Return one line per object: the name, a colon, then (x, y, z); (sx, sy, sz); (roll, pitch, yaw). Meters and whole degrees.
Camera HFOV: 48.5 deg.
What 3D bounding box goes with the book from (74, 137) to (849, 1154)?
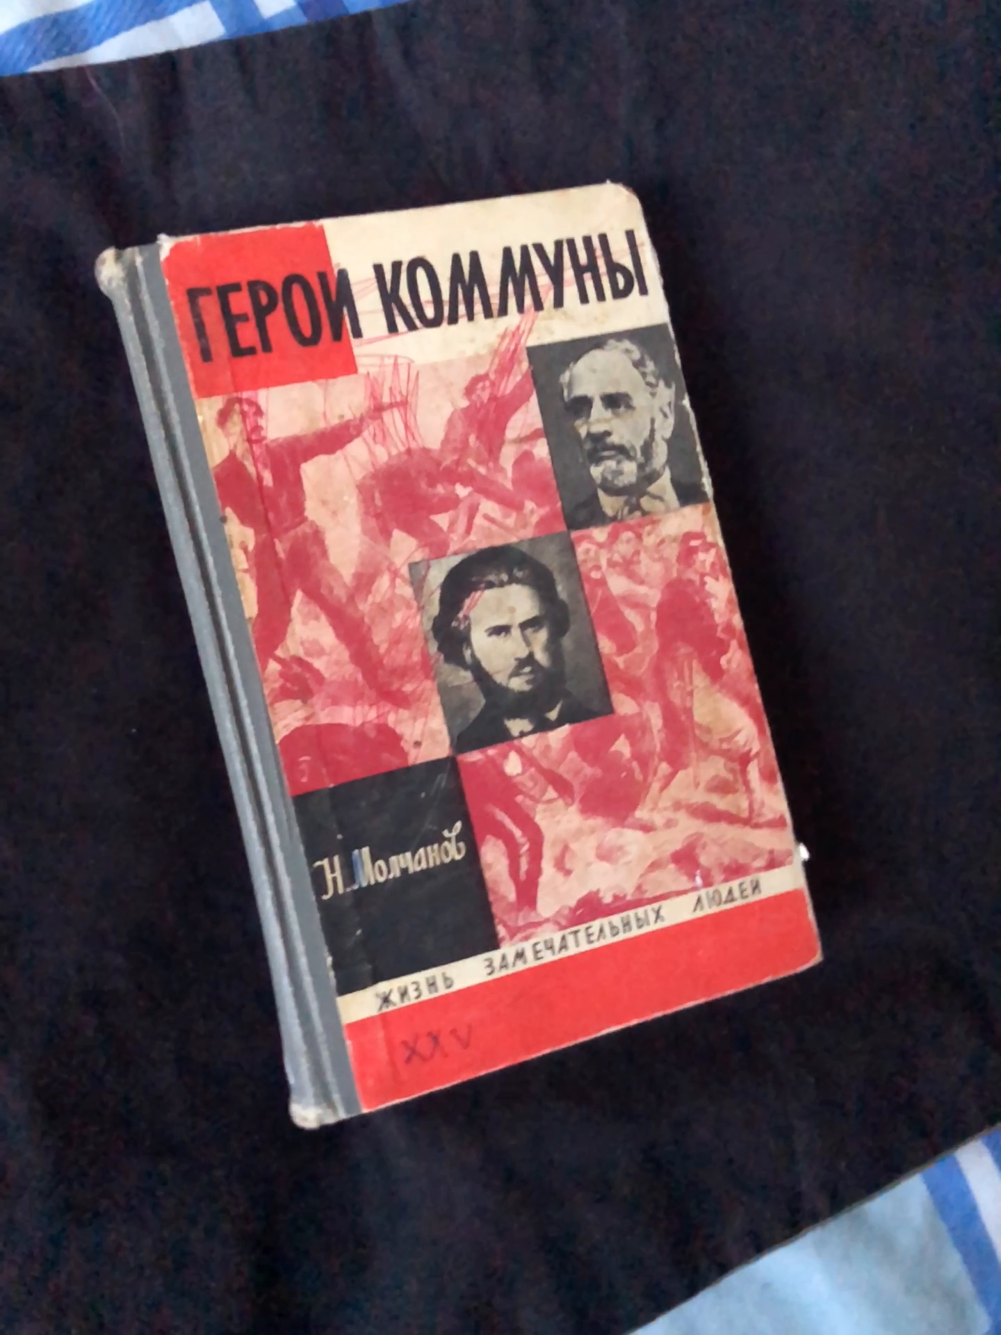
book: (-0.010, -0.010, 0.274); (0.128, 0.060, 0.200); (-14, 90, -13)
